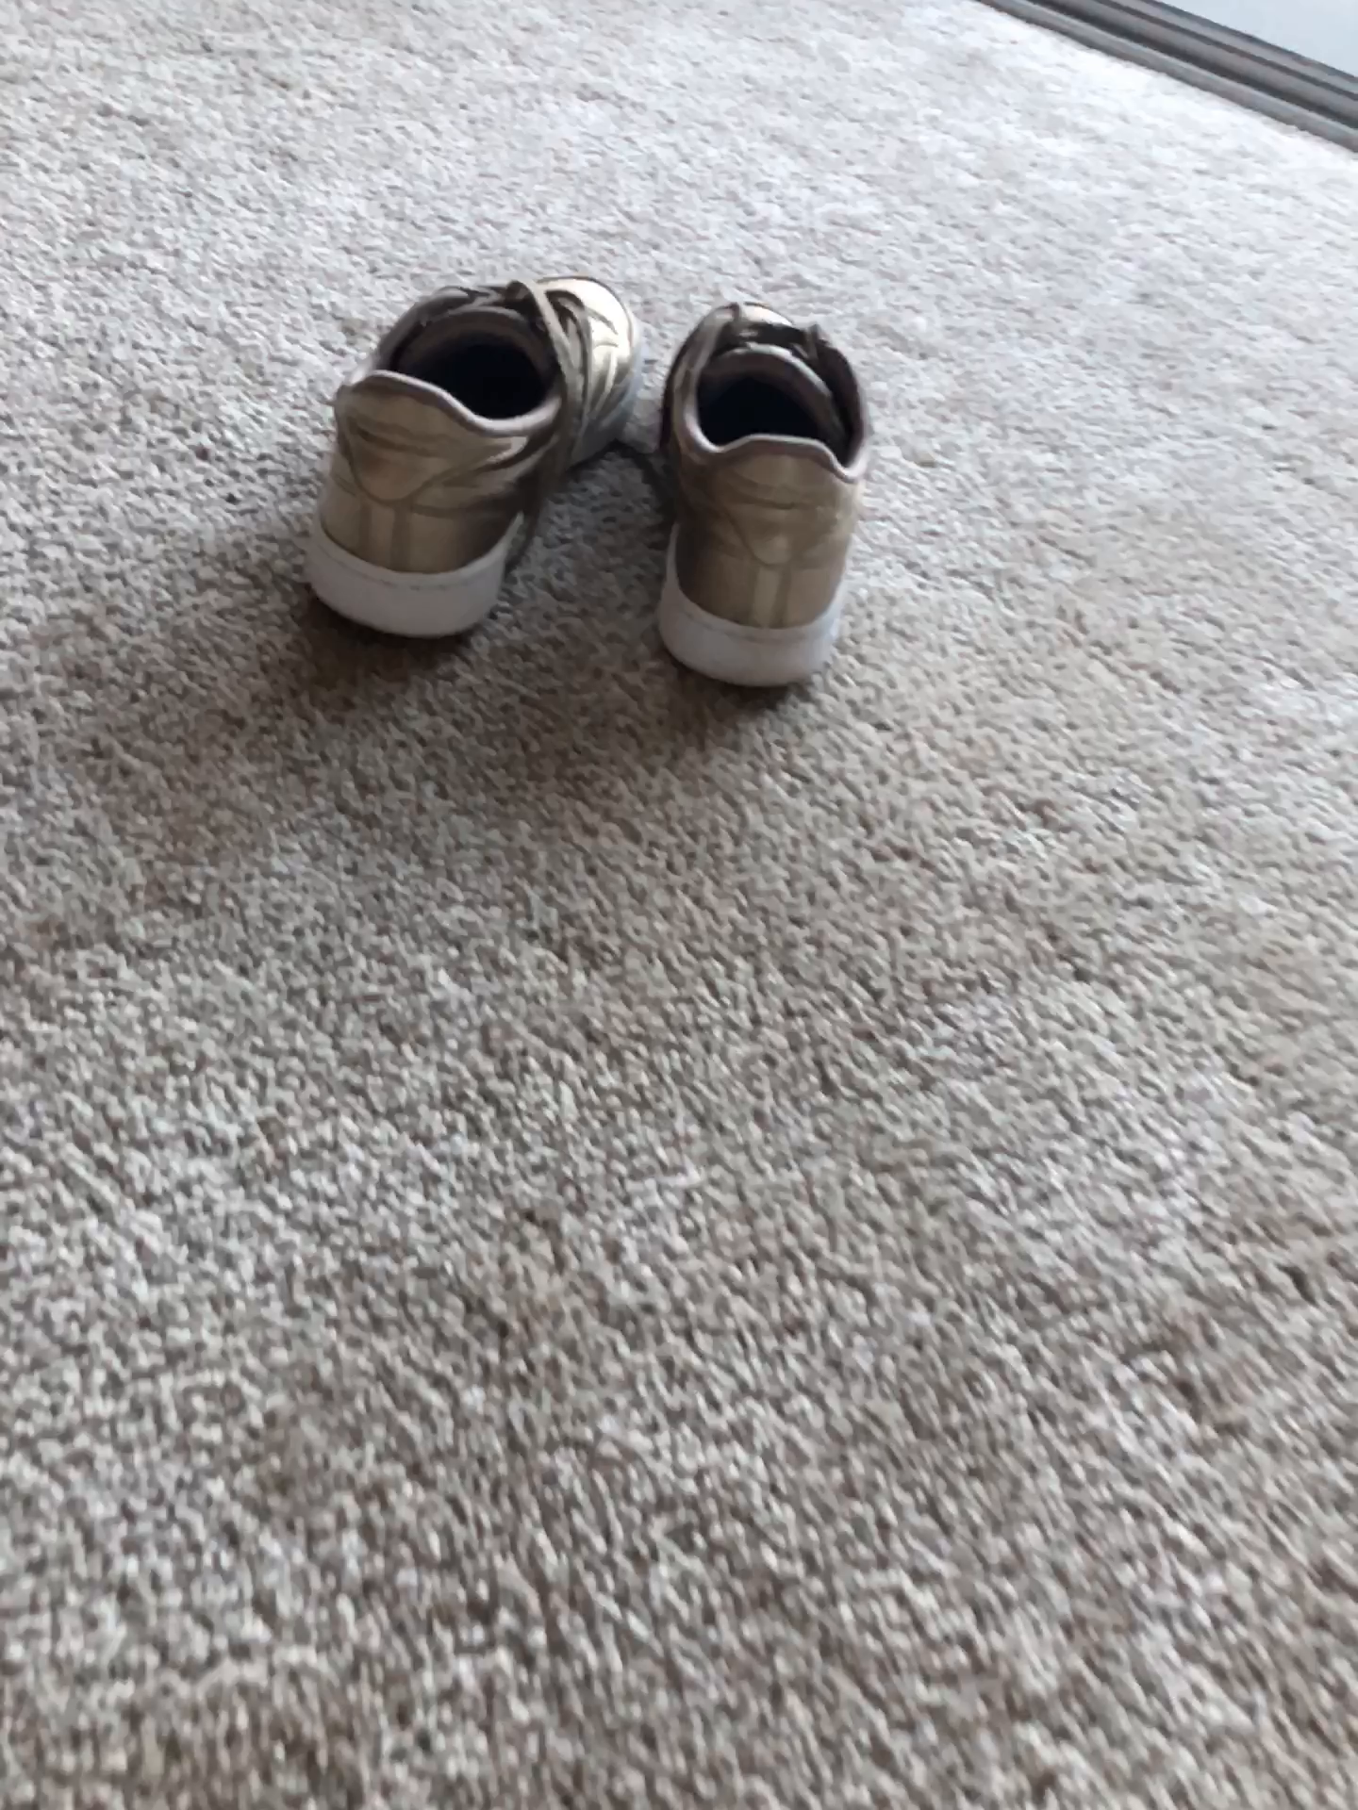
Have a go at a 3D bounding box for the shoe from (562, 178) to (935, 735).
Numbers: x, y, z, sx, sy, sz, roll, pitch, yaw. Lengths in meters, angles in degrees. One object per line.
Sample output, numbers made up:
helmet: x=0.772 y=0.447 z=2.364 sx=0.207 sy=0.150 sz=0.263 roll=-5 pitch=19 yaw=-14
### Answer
shoe: x=0.038 y=-0.194 z=0.601 sx=0.110 sy=0.070 sz=0.281 roll=13 pitch=45 yaw=-3

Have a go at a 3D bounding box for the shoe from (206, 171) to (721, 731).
shoe: x=-0.071 y=-0.194 z=0.591 sx=0.110 sy=0.070 sz=0.281 roll=17 pitch=45 yaw=1
